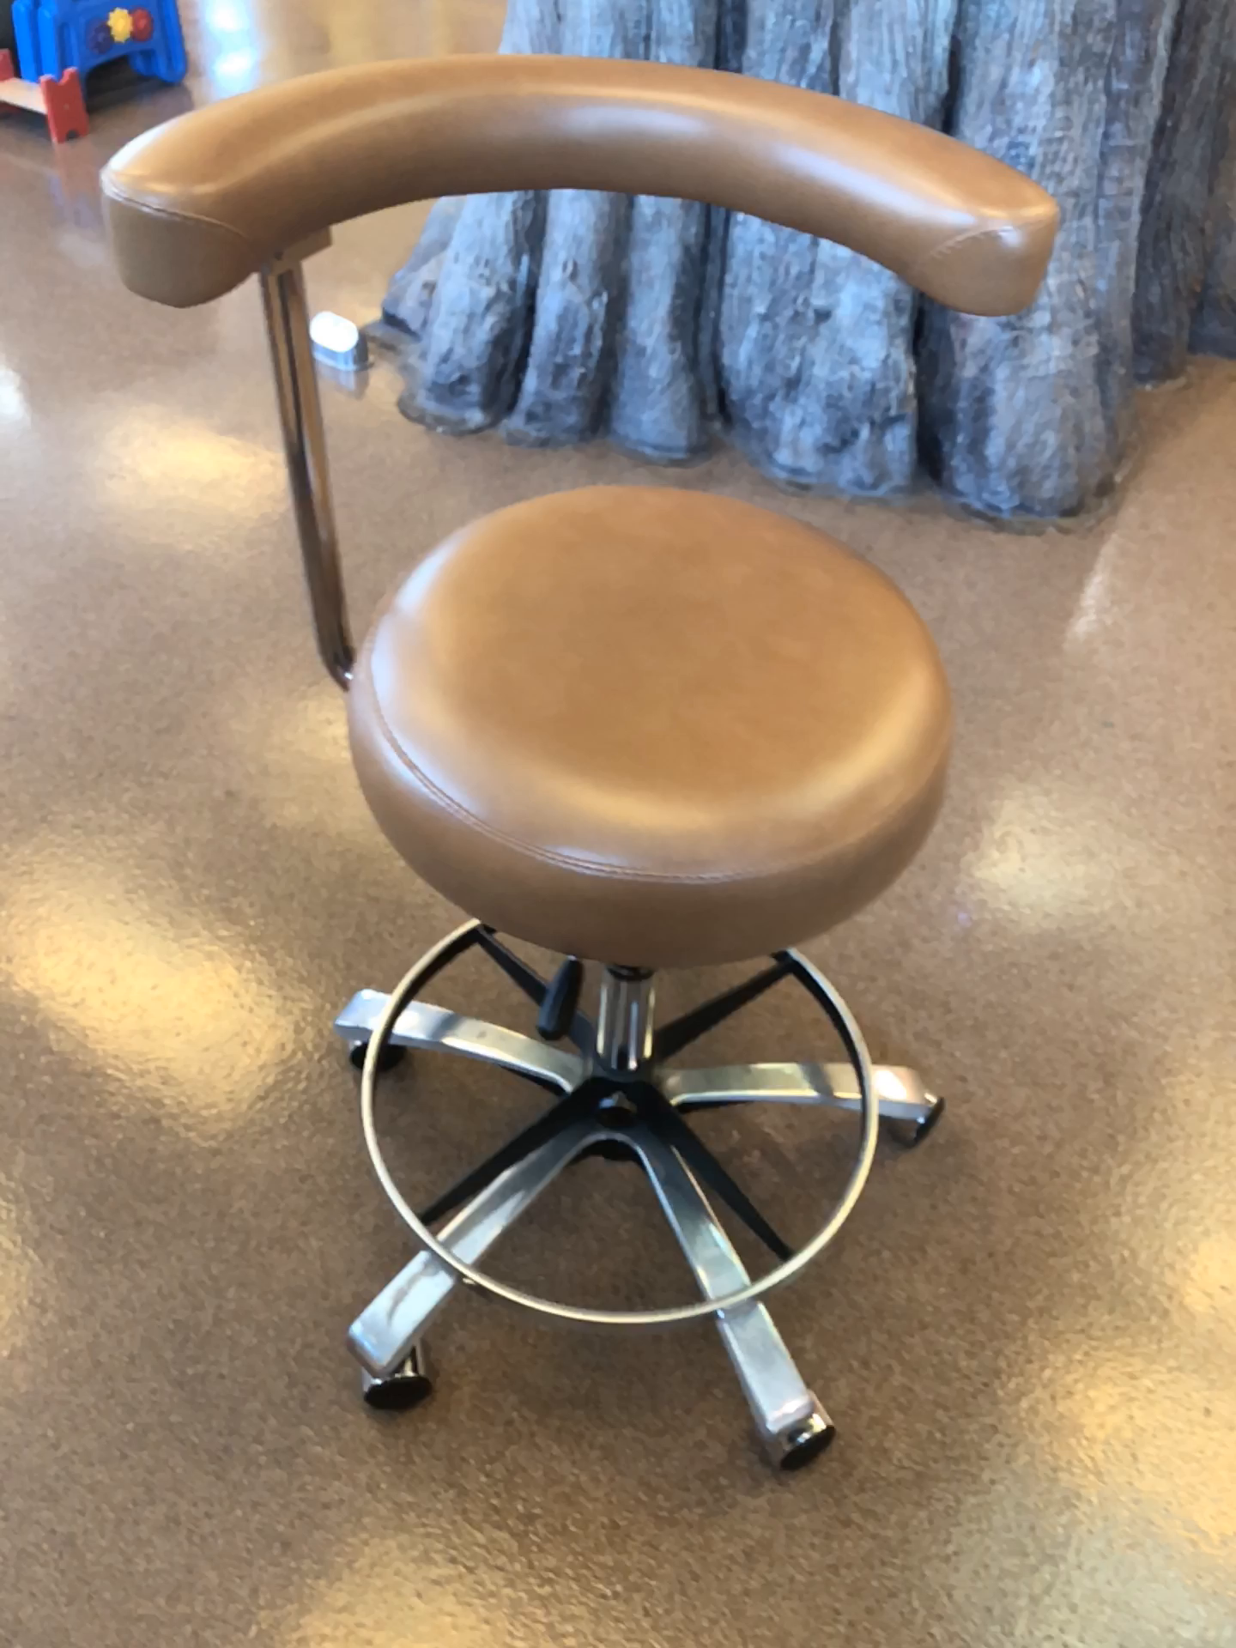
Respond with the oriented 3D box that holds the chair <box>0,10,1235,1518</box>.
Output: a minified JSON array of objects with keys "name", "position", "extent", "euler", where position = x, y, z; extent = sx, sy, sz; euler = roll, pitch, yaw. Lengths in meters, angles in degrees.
[{"name":"chair","position":[0.016,-0.008,0.927],"extent":[0.610,0.805,0.594],"euler":[-2,45,-5]}]
